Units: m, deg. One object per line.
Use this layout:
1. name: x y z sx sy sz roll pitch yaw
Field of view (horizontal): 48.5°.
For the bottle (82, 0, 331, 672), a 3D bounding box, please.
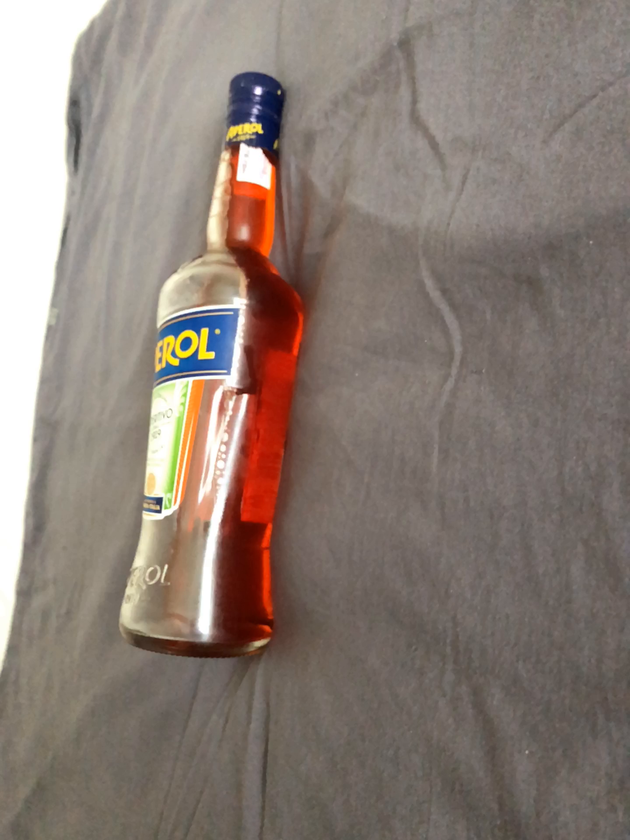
1. bottle: -0.060 -0.044 0.376 0.101 0.070 0.320 -5 79 59
